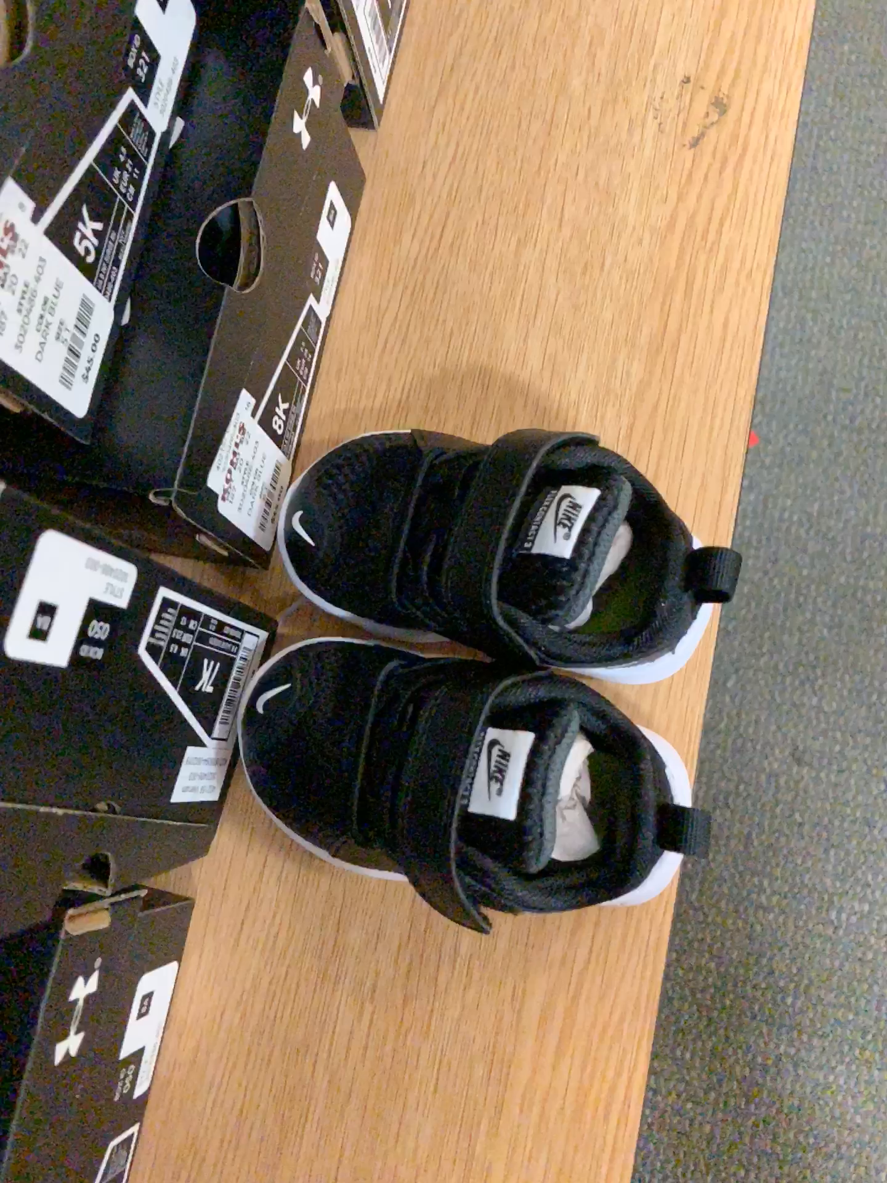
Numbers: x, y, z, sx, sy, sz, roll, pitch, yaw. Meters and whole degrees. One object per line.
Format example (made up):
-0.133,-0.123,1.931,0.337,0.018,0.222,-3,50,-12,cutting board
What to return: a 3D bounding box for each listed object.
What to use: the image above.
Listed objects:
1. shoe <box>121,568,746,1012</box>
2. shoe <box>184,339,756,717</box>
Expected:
-0.001,0.050,0.251,0.140,0.060,0.070,14,81,11,shoe
0.009,-0.017,0.273,0.140,0.060,0.070,14,81,11,shoe
